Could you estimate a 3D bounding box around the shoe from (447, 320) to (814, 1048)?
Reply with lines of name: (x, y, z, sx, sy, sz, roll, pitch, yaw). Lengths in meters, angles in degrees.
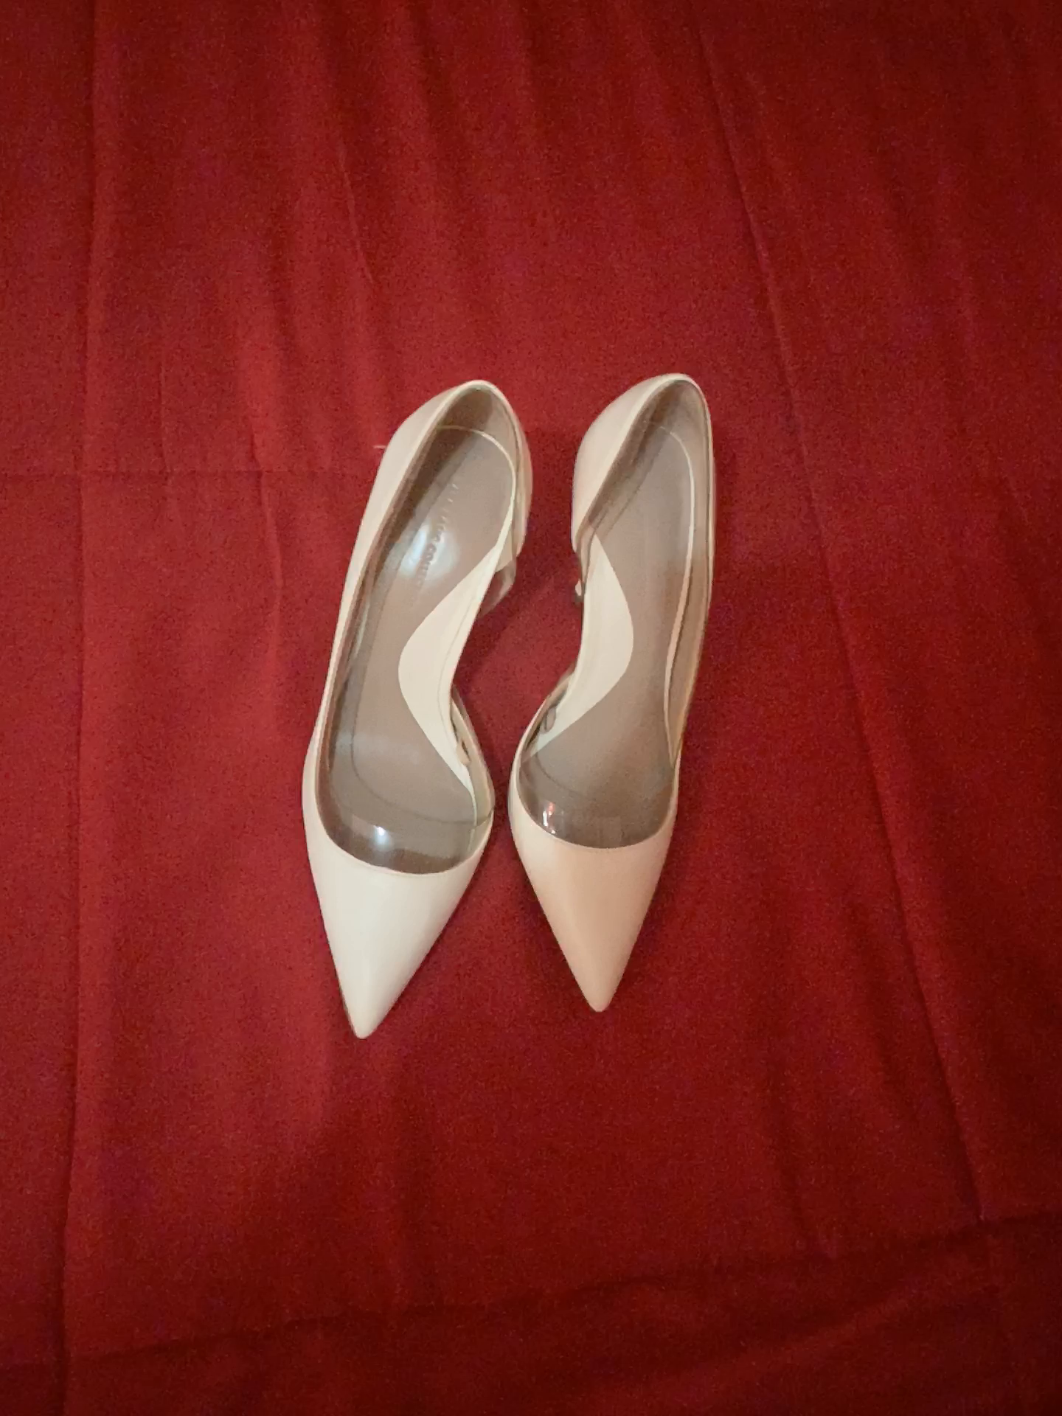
shoe: (0.036, -0.001, 0.428, 0.097, 0.140, 0.241, 8, 68, -7)

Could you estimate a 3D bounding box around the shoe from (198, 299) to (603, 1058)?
shoe: (-0.043, -0.003, 0.412, 0.097, 0.137, 0.243, 8, 68, -7)
